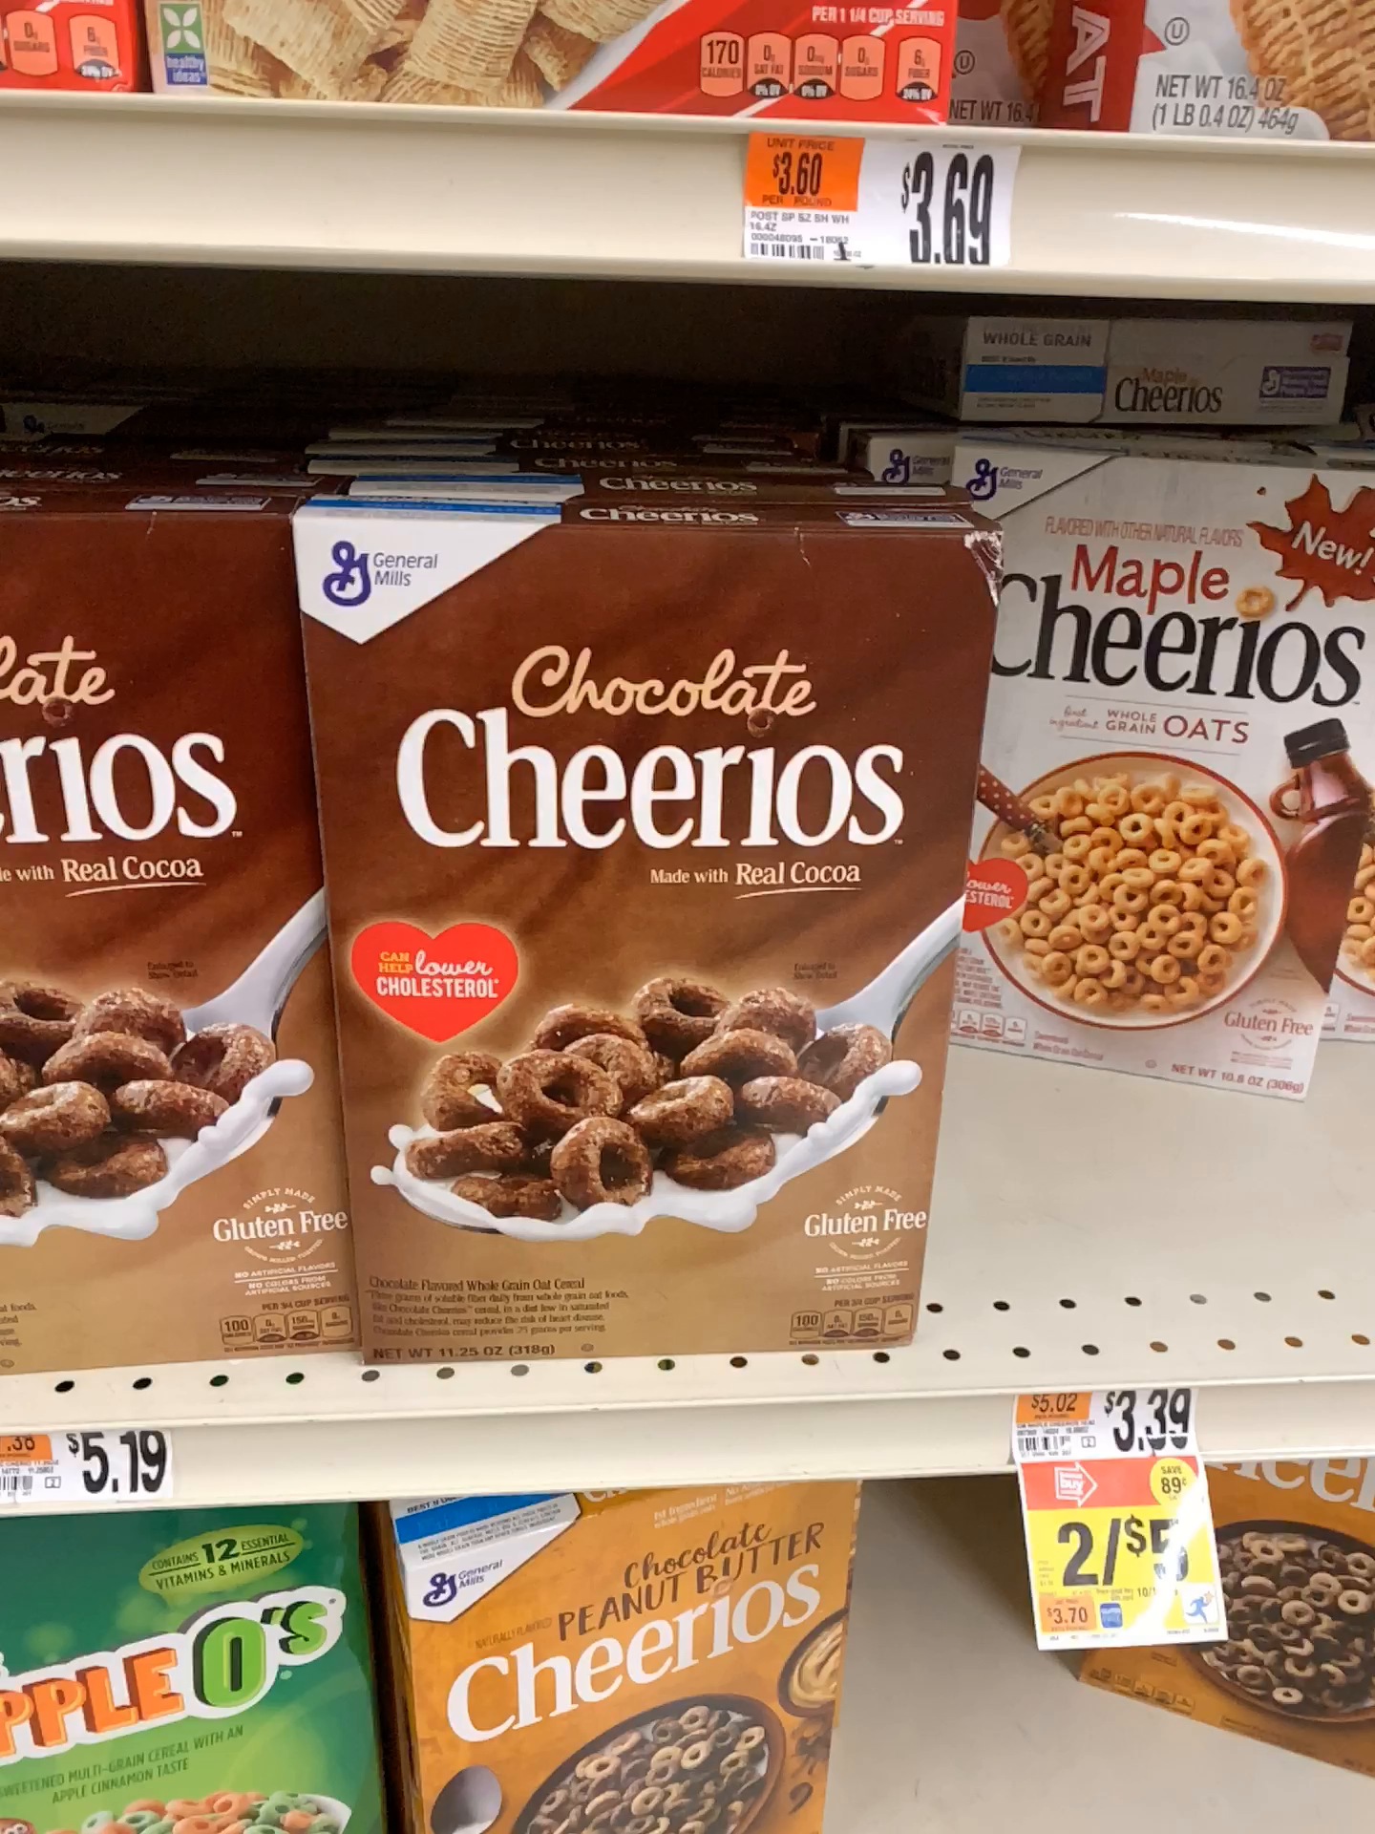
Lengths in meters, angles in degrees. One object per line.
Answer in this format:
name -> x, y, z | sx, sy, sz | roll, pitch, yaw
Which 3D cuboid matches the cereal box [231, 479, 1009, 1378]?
cereal box -> -0.023, 0.015, 0.471 | 0.210, 0.298, 0.060 | 0, 25, -4
